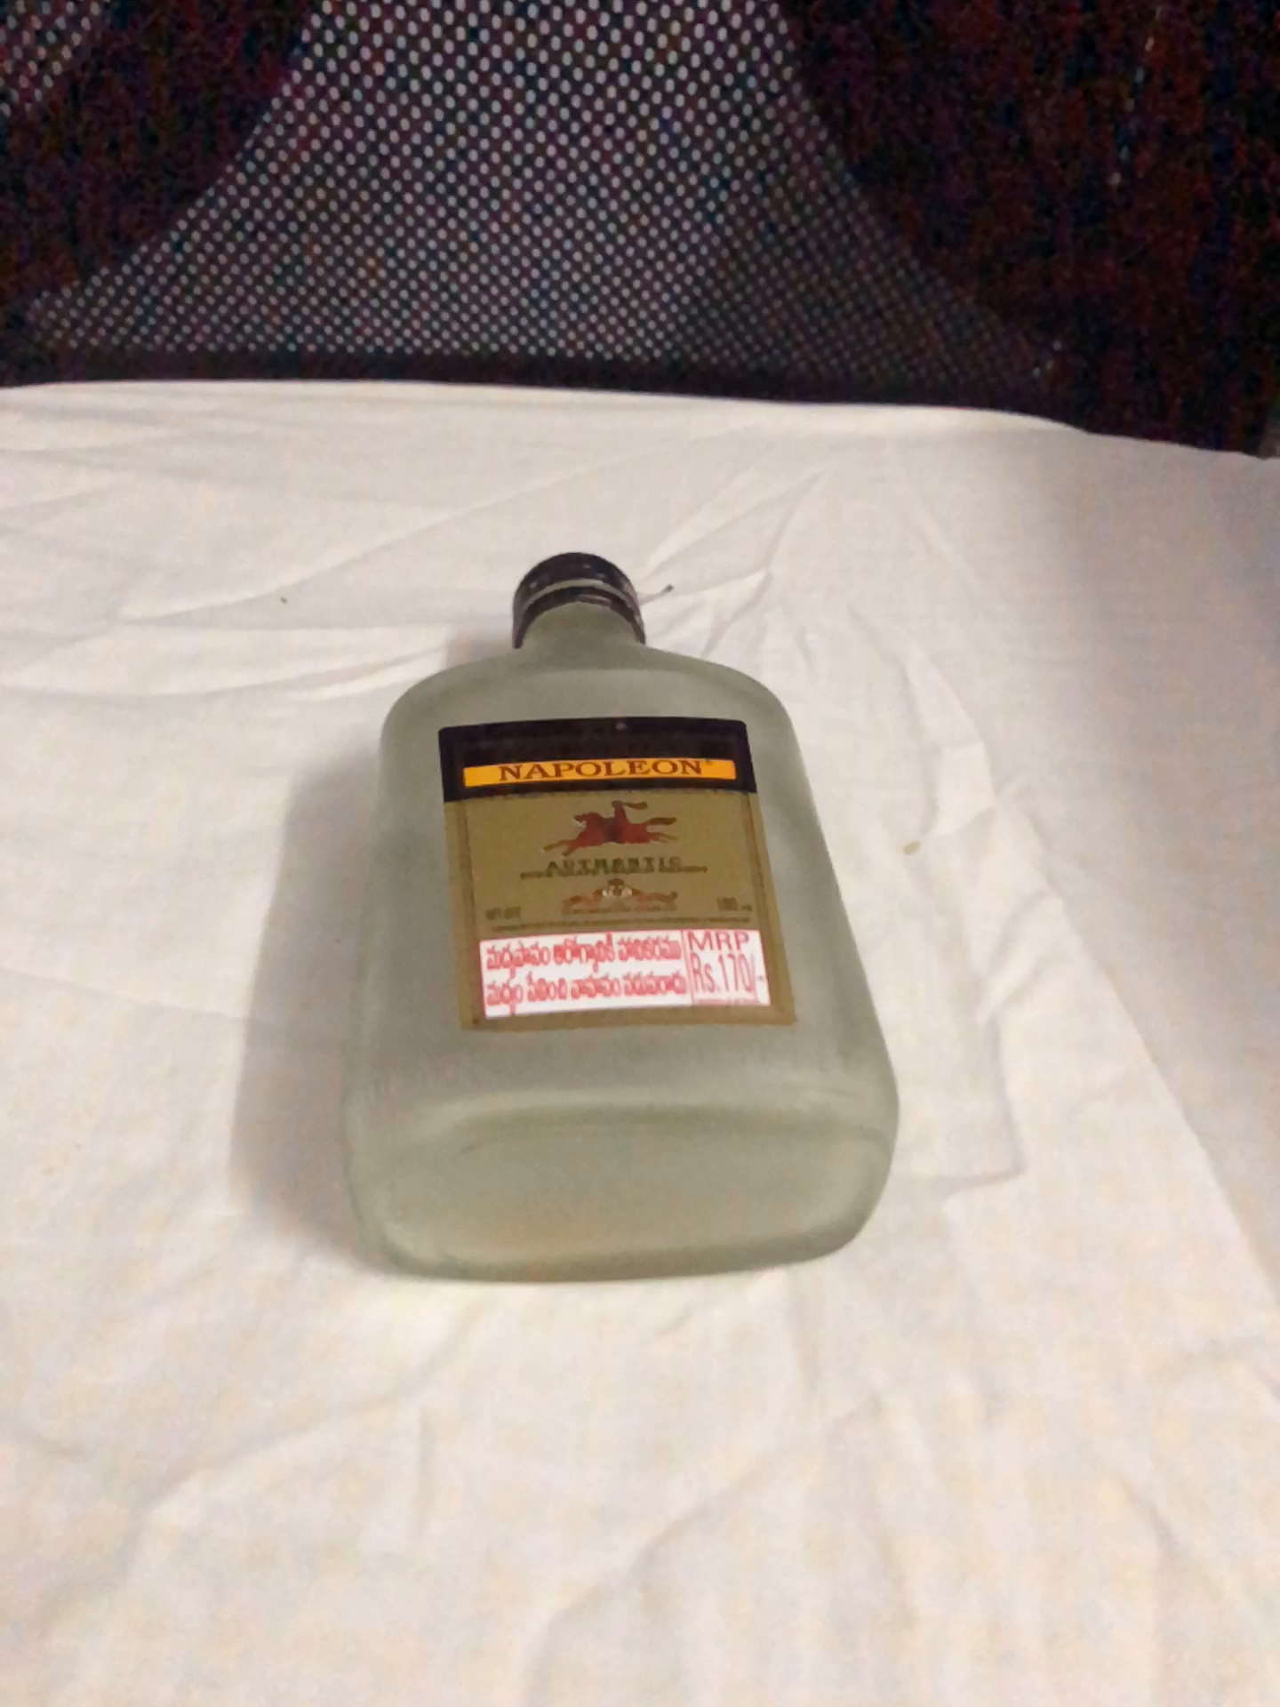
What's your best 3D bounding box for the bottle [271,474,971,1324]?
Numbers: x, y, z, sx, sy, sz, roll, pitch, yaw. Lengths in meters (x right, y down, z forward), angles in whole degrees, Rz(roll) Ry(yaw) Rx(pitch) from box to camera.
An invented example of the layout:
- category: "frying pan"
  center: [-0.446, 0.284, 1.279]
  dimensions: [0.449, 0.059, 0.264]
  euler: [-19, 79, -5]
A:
- category: "bottle"
  center: [-0.009, -0.007, 0.236]
  dimensions: [0.080, 0.040, 0.161]
  euler: [0, 41, -6]
